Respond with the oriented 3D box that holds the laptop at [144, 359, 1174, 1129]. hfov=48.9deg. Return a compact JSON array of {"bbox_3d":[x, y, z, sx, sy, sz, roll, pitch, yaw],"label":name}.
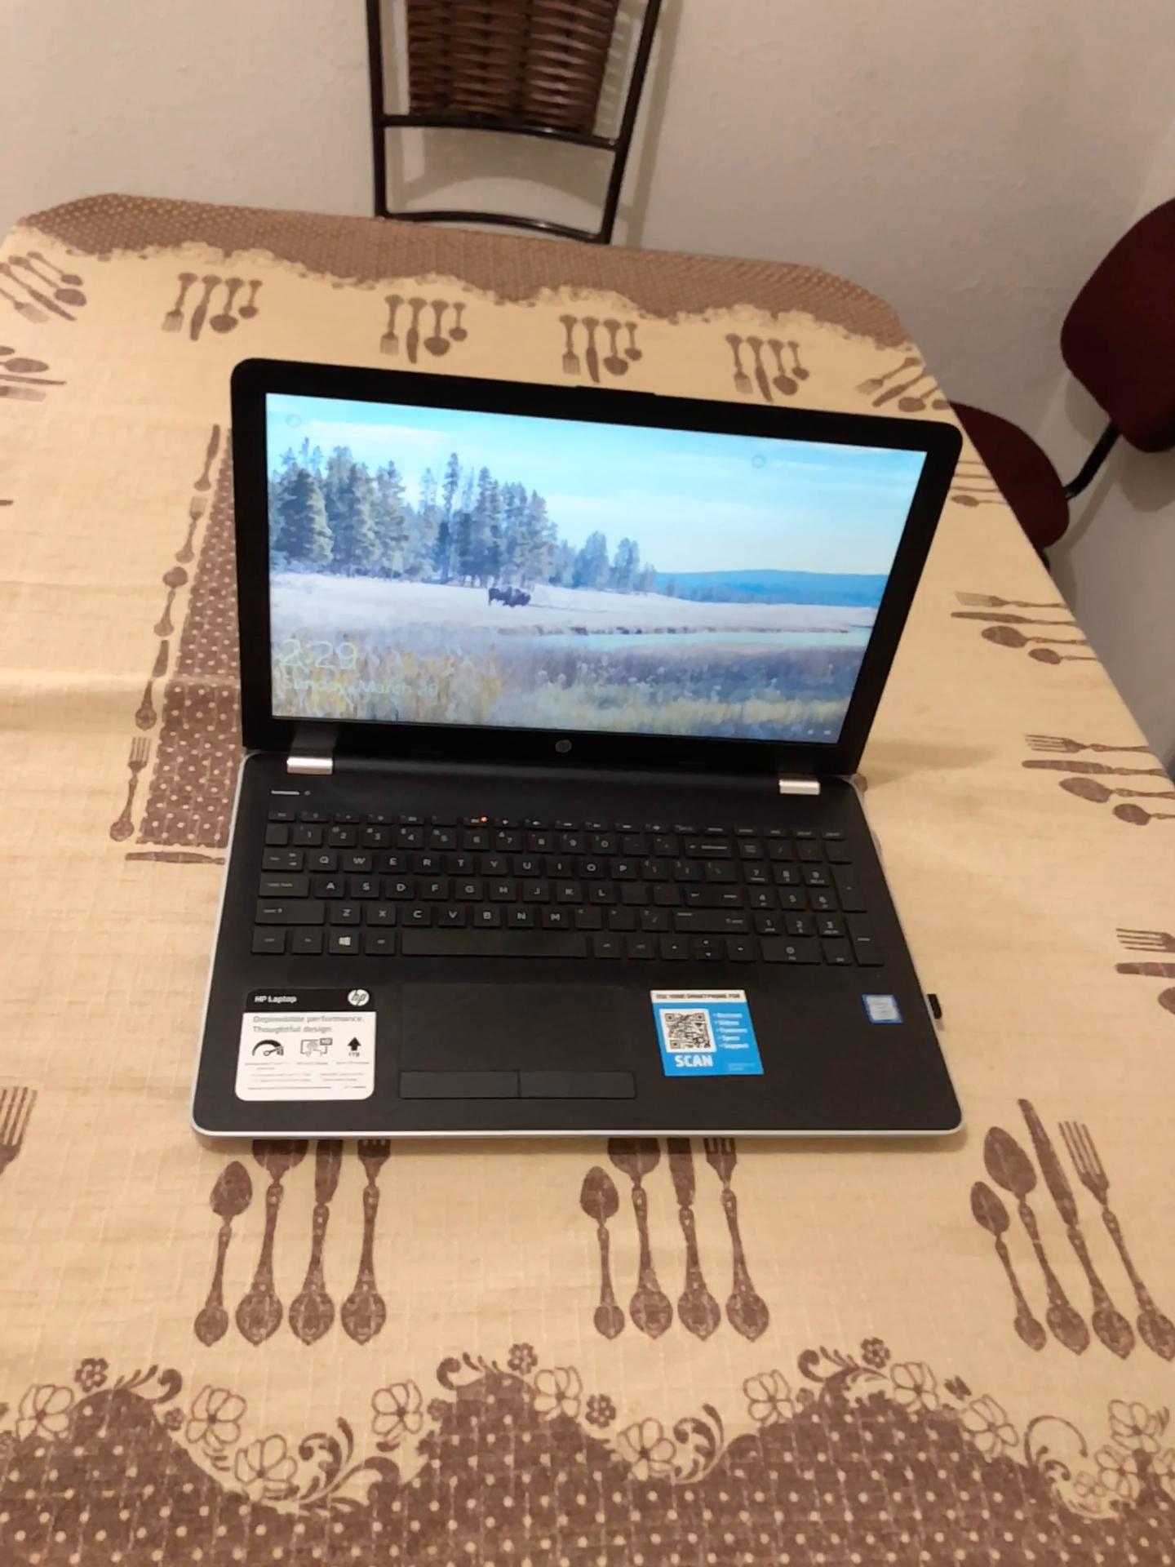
[{"bbox_3d":[0.007,-0.016,0.613,0.360,0.225,0.269,3,43,-10],"label":"laptop"}]
